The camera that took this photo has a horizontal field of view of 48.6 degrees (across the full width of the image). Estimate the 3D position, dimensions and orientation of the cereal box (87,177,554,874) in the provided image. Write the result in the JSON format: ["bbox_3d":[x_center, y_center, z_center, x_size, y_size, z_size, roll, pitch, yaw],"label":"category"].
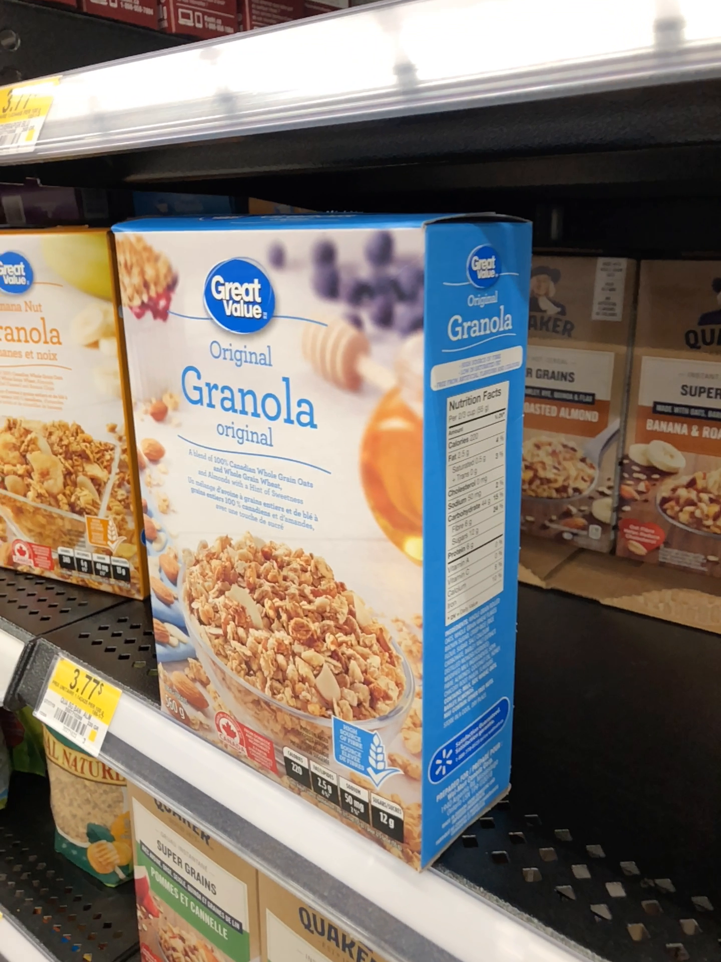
[{"bbox_3d":[-0.020,0.004,0.312,0.160,0.219,0.070,13,22,39],"label":"cereal box"}]
